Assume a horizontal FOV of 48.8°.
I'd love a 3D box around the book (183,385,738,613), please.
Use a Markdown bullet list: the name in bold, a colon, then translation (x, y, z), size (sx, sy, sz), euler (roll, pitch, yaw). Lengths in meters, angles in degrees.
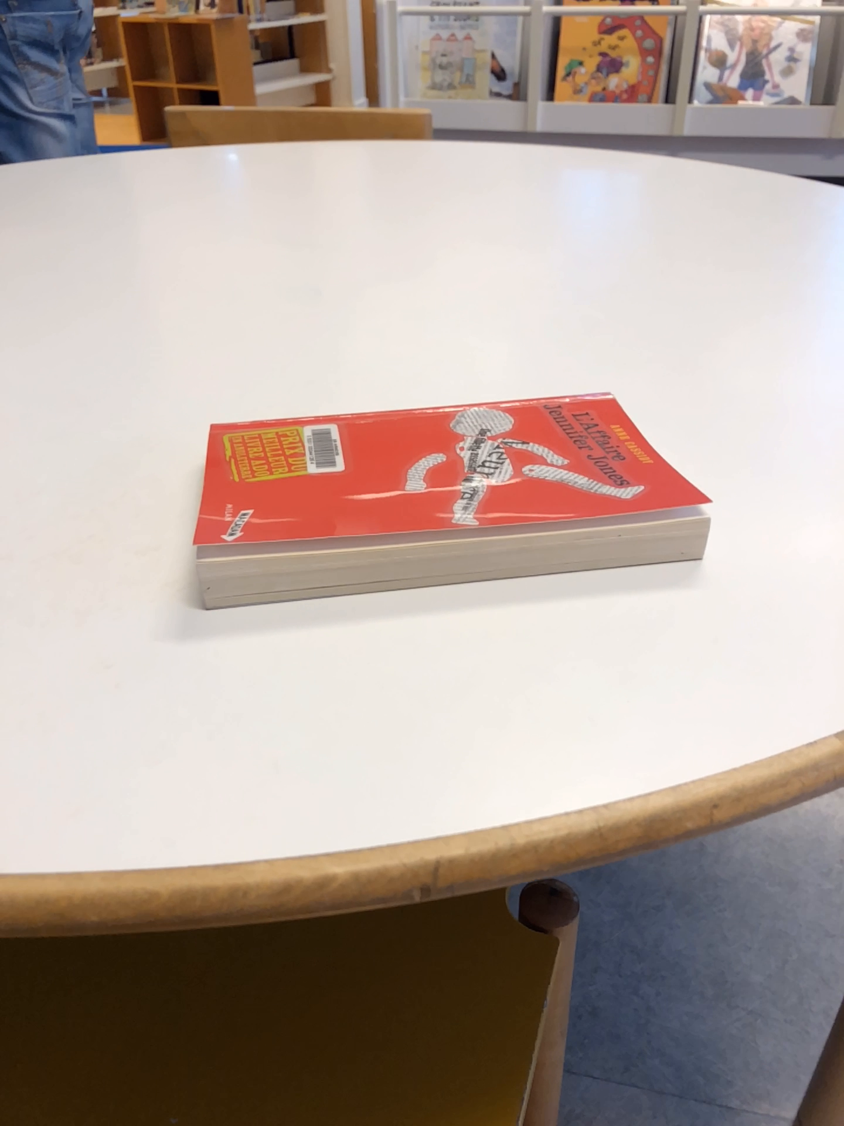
- **book**: translation (0.008, -0.035, 0.400), size (0.203, 0.027, 0.137), euler (-5, 30, -6)
